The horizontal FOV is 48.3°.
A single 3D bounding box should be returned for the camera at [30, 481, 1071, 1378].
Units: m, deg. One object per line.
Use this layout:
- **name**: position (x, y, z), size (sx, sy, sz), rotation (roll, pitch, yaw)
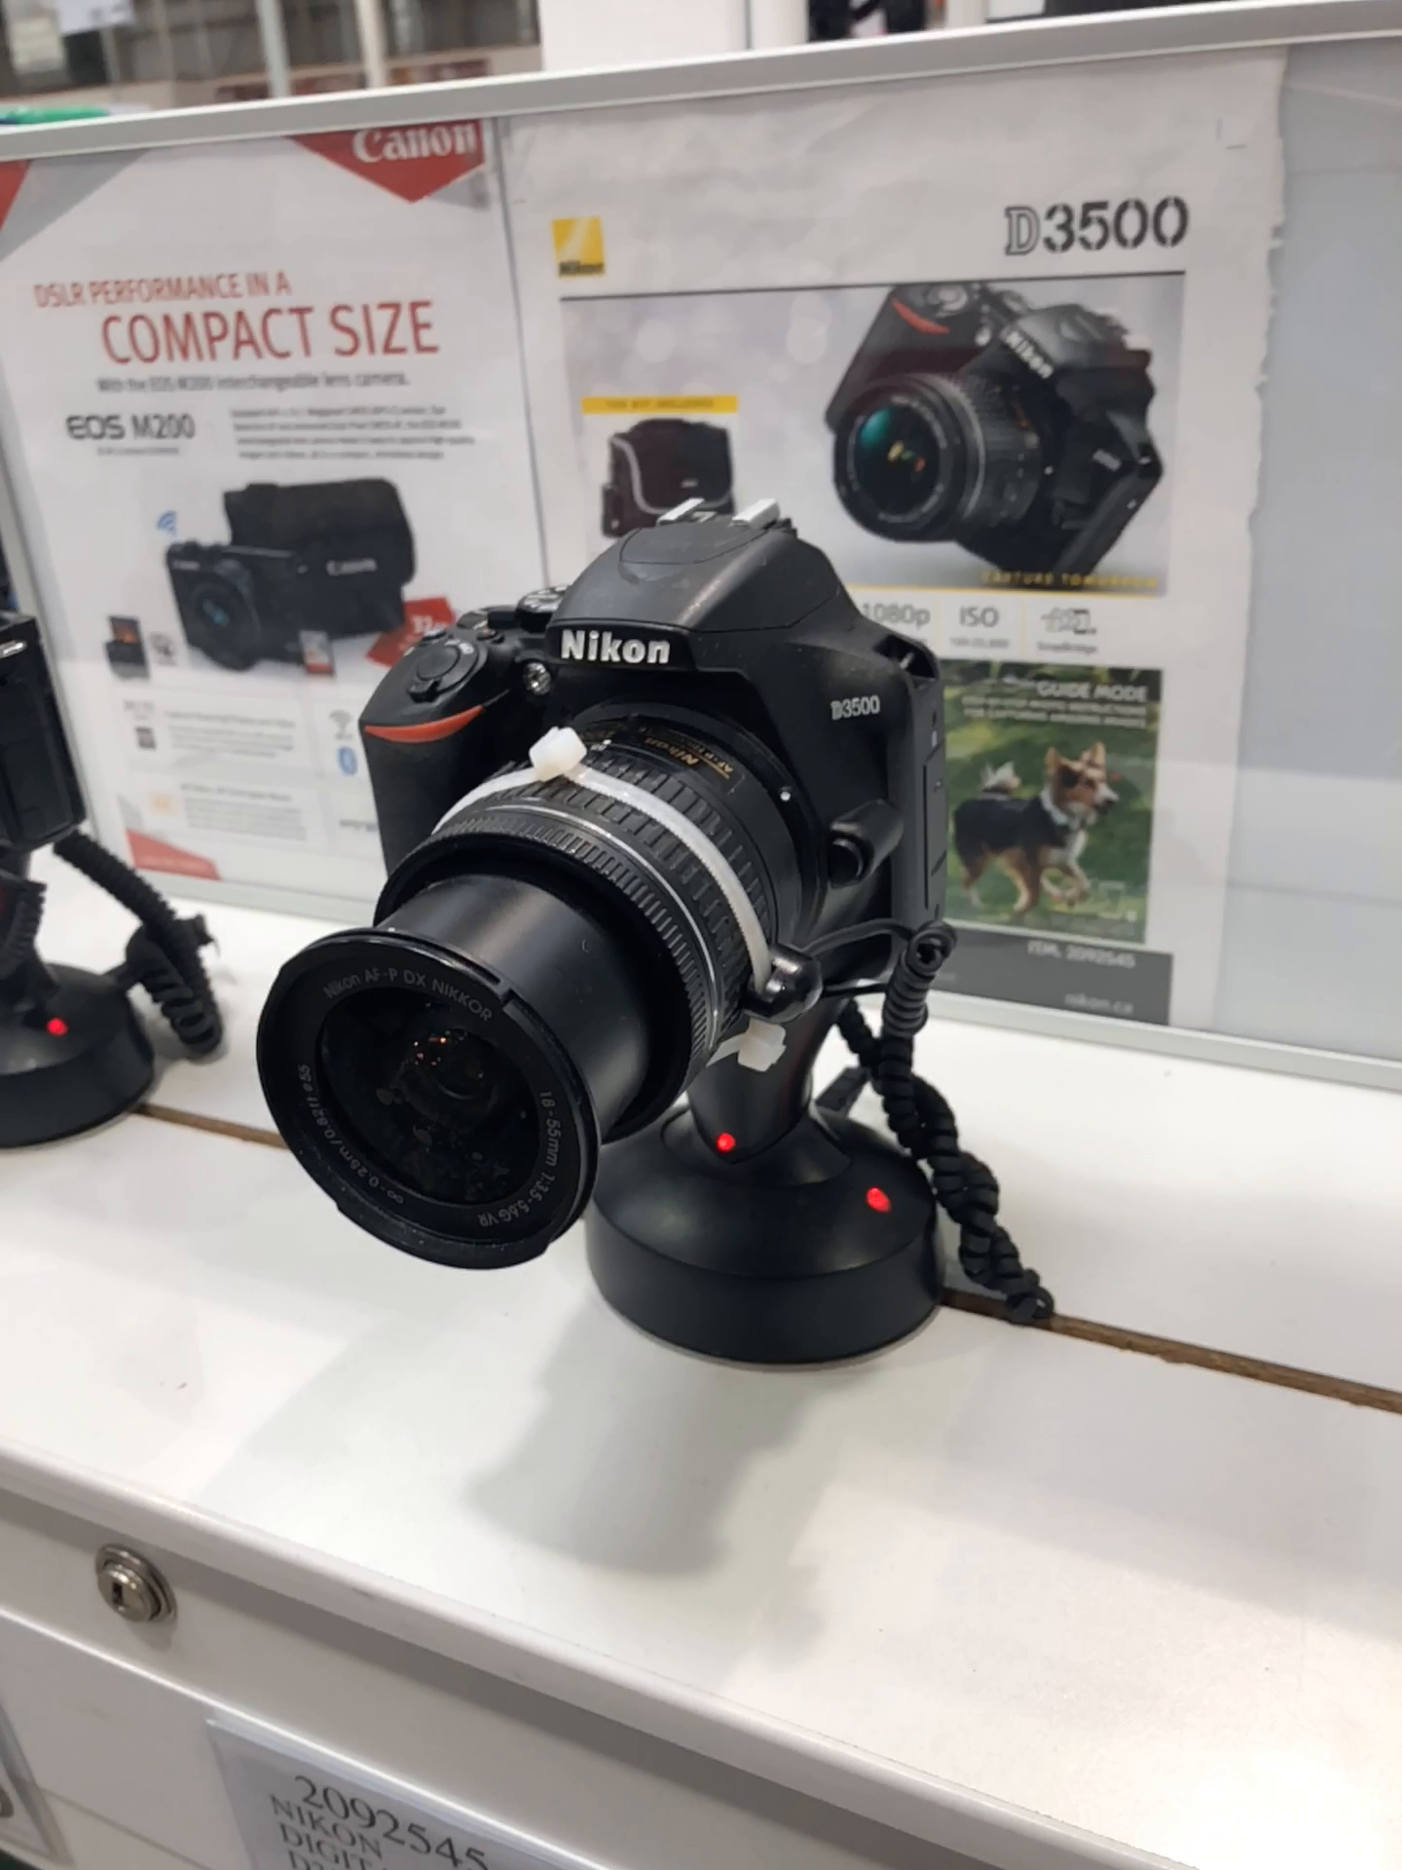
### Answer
- **camera**: position (-0.009, -0.024, 0.339), size (0.140, 0.110, 0.191), rotation (6, 28, 21)
